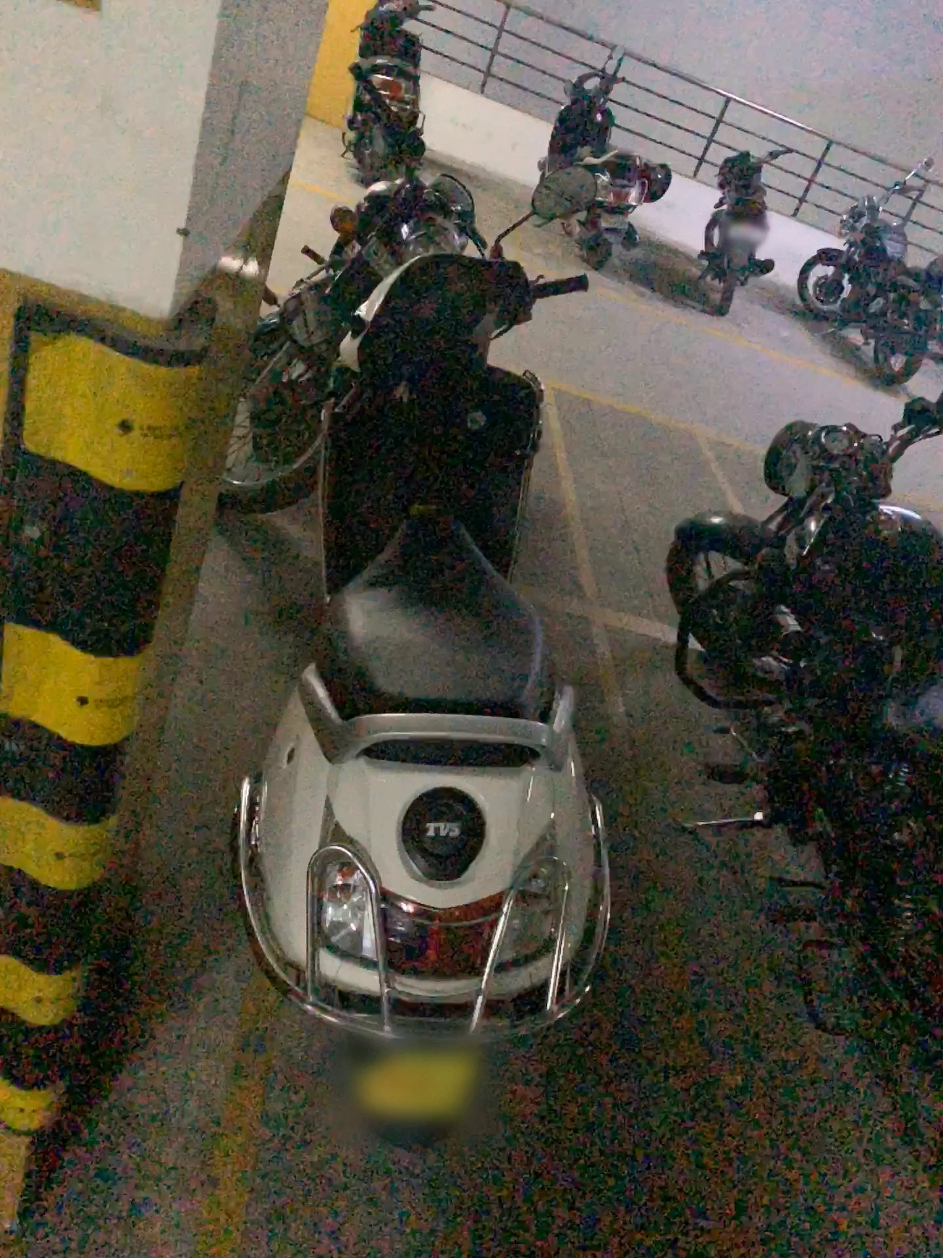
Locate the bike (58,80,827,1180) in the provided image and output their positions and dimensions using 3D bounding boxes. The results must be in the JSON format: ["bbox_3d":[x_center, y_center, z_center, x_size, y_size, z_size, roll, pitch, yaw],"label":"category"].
[{"bbox_3d":[-0.158,-0.113,1.810,0.648,1.158,1.538,14,37,-14],"label":"bike"}]
